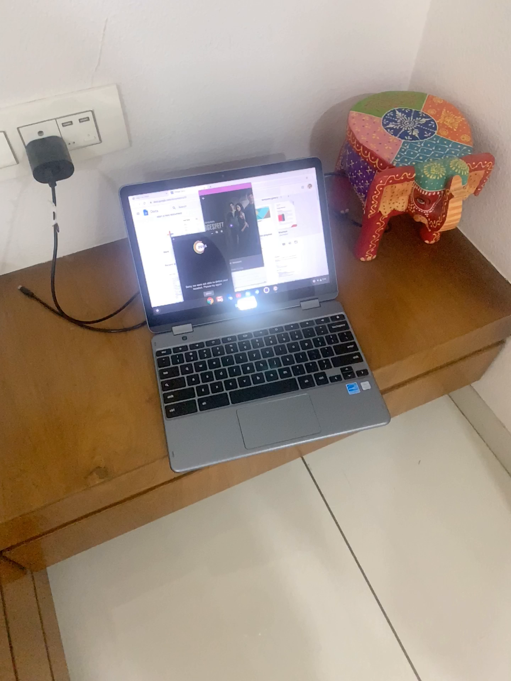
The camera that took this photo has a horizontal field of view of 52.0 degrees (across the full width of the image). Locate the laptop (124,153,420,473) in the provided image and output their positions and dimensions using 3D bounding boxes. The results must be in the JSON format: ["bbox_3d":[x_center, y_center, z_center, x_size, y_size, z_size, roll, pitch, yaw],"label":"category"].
[{"bbox_3d":[-0.001,-0.055,0.768,0.314,0.164,0.384,-12,59,-7],"label":"laptop"}]
